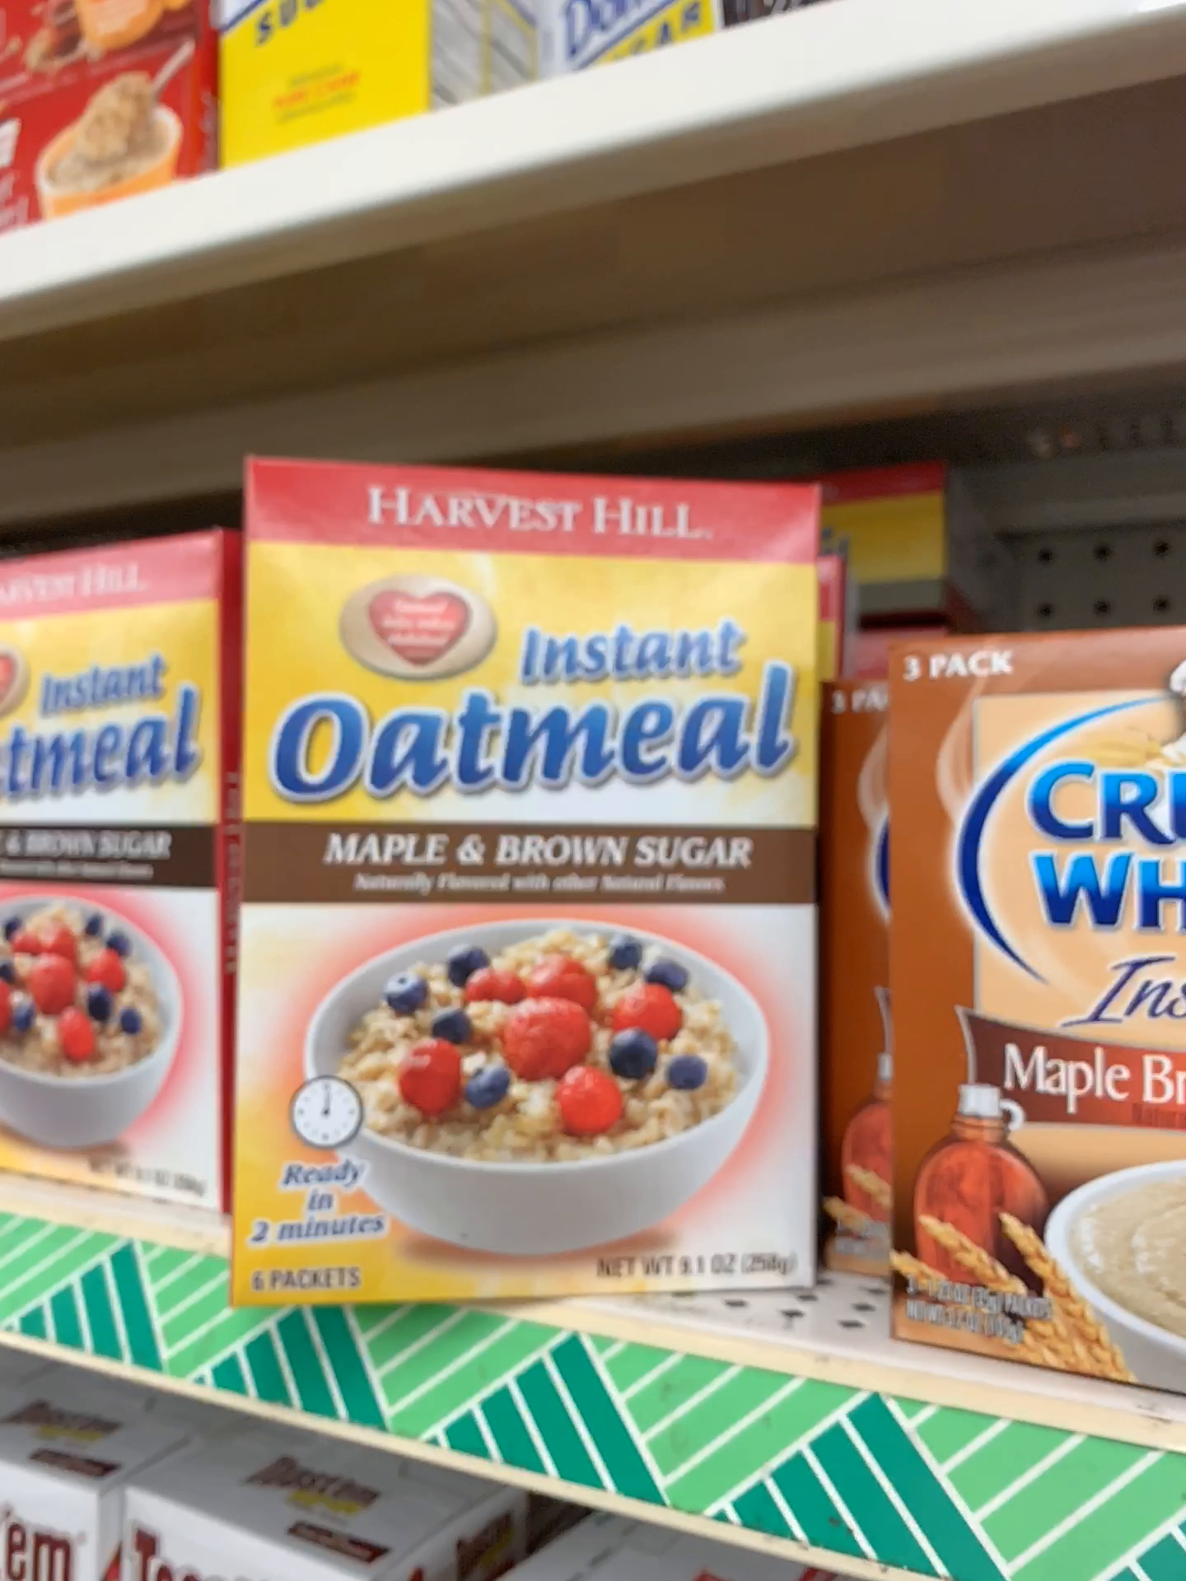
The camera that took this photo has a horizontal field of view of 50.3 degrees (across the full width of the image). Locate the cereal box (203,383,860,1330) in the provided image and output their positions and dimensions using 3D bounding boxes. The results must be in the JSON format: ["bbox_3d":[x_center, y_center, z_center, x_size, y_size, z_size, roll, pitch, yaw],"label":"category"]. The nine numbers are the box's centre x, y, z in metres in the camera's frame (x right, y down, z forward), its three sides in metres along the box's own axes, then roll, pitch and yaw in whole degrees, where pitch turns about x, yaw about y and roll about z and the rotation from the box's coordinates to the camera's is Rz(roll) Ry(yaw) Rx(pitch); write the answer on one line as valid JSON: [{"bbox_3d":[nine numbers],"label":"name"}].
[{"bbox_3d":[-0.013,0.013,0.278,0.130,0.180,0.050,1,-3,-11],"label":"cereal box"}]
